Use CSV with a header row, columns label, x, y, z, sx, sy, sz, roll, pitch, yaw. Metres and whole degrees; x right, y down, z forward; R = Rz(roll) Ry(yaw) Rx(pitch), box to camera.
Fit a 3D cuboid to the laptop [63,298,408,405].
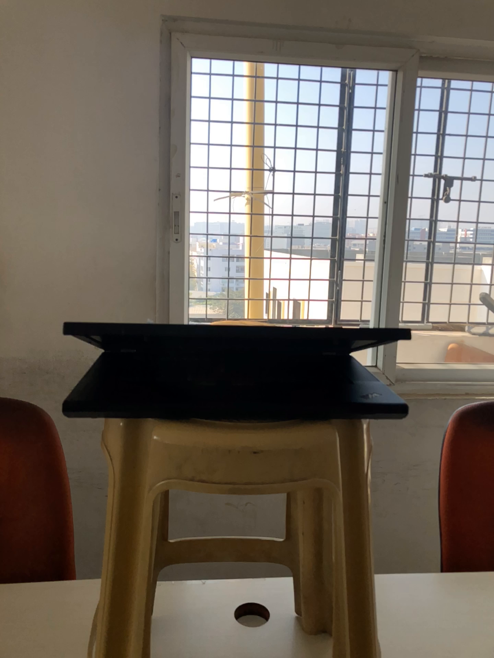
label,x,y,z,sx,sy,sz,roll,pitch,yaw
laptop,-0.015,0.019,0.682,0.362,0.075,0.235,1,12,-5
